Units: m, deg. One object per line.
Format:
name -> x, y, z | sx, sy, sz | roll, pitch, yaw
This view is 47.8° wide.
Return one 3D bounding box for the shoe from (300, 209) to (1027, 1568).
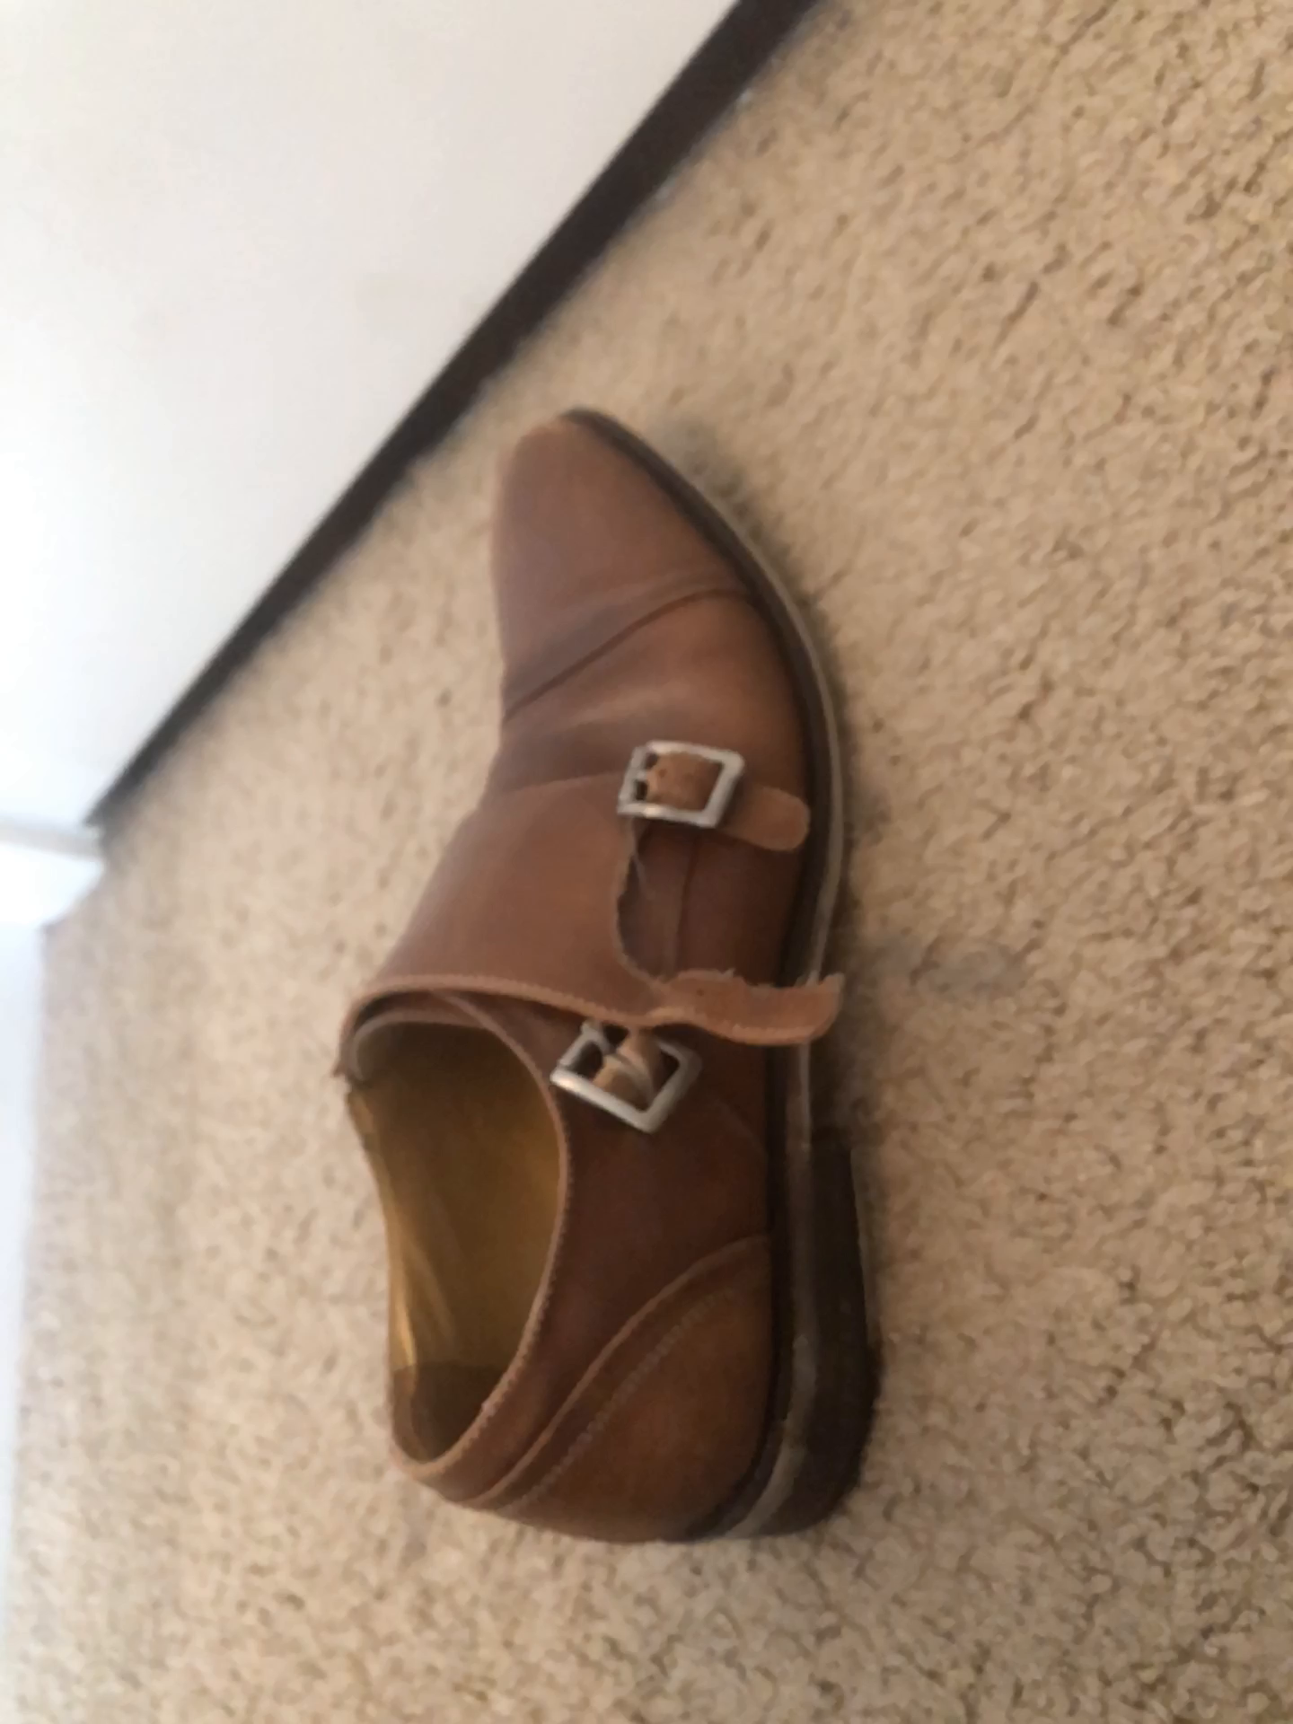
shoe -> -0.011, 0.005, 0.351 | 0.100, 0.107, 0.286 | -32, 55, 45
